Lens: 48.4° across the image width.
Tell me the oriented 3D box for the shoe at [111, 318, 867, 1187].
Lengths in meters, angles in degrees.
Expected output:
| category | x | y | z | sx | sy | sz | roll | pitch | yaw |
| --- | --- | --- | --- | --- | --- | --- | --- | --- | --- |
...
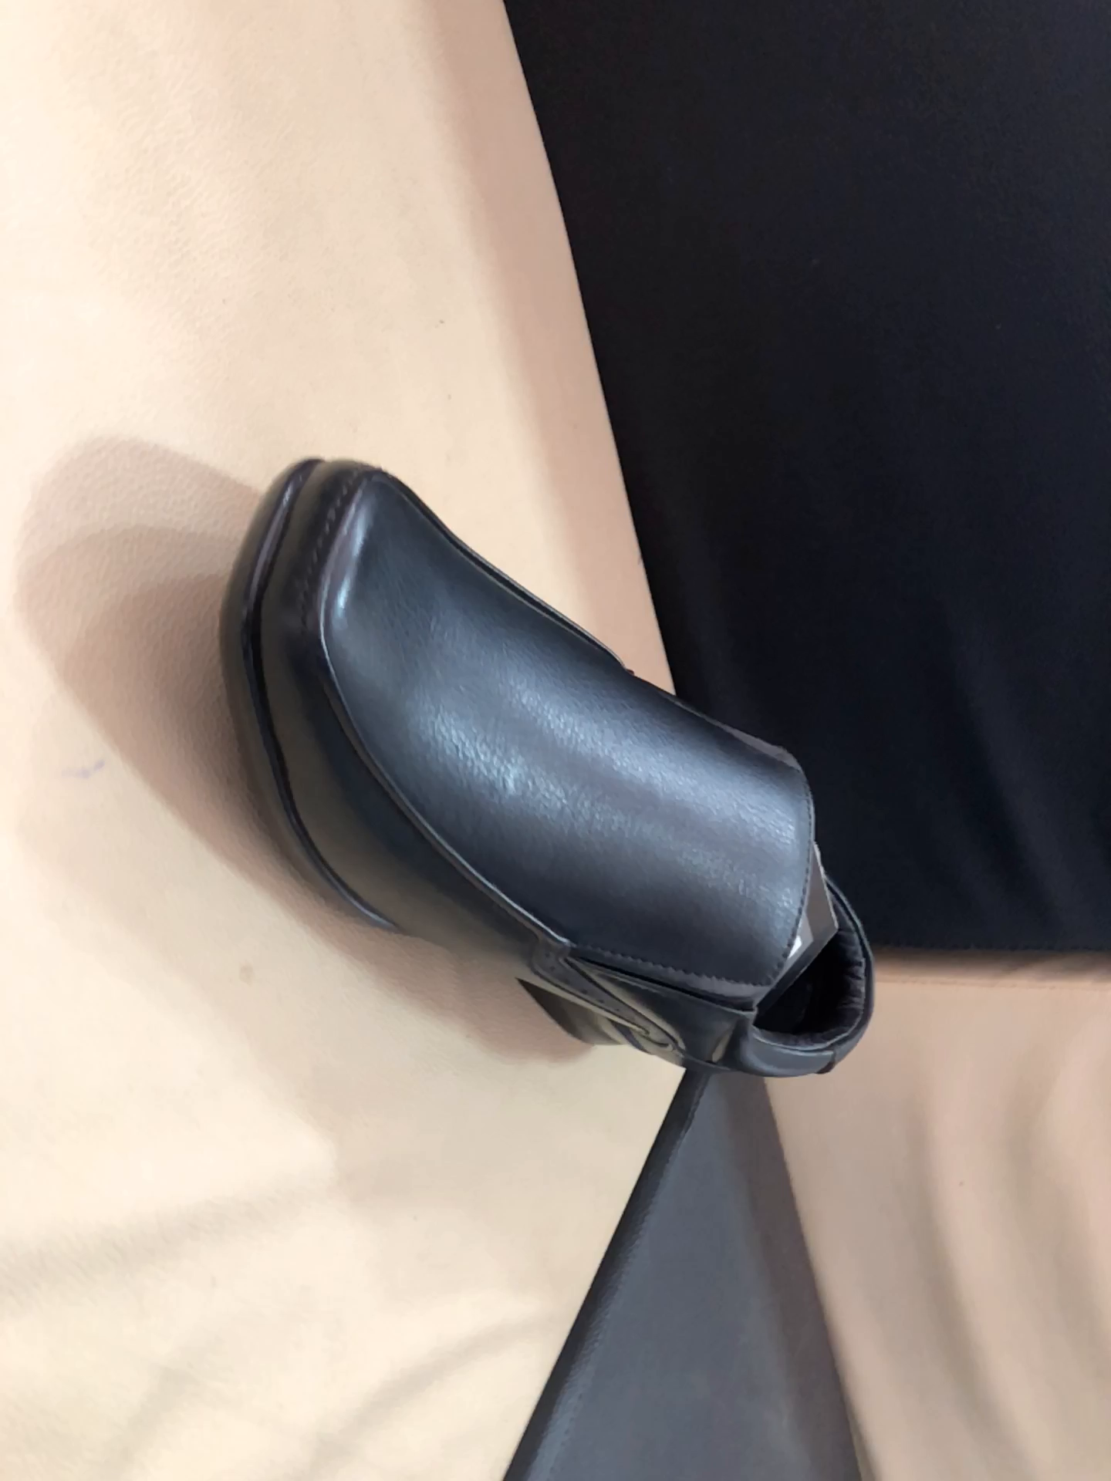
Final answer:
| category | x | y | z | sx | sy | sz | roll | pitch | yaw |
| --- | --- | --- | --- | --- | --- | --- | --- | --- | --- |
| shoe | 0.017 | 0.033 | 0.350 | 0.282 | 0.069 | 0.110 | 51 | 45 | -49 |
